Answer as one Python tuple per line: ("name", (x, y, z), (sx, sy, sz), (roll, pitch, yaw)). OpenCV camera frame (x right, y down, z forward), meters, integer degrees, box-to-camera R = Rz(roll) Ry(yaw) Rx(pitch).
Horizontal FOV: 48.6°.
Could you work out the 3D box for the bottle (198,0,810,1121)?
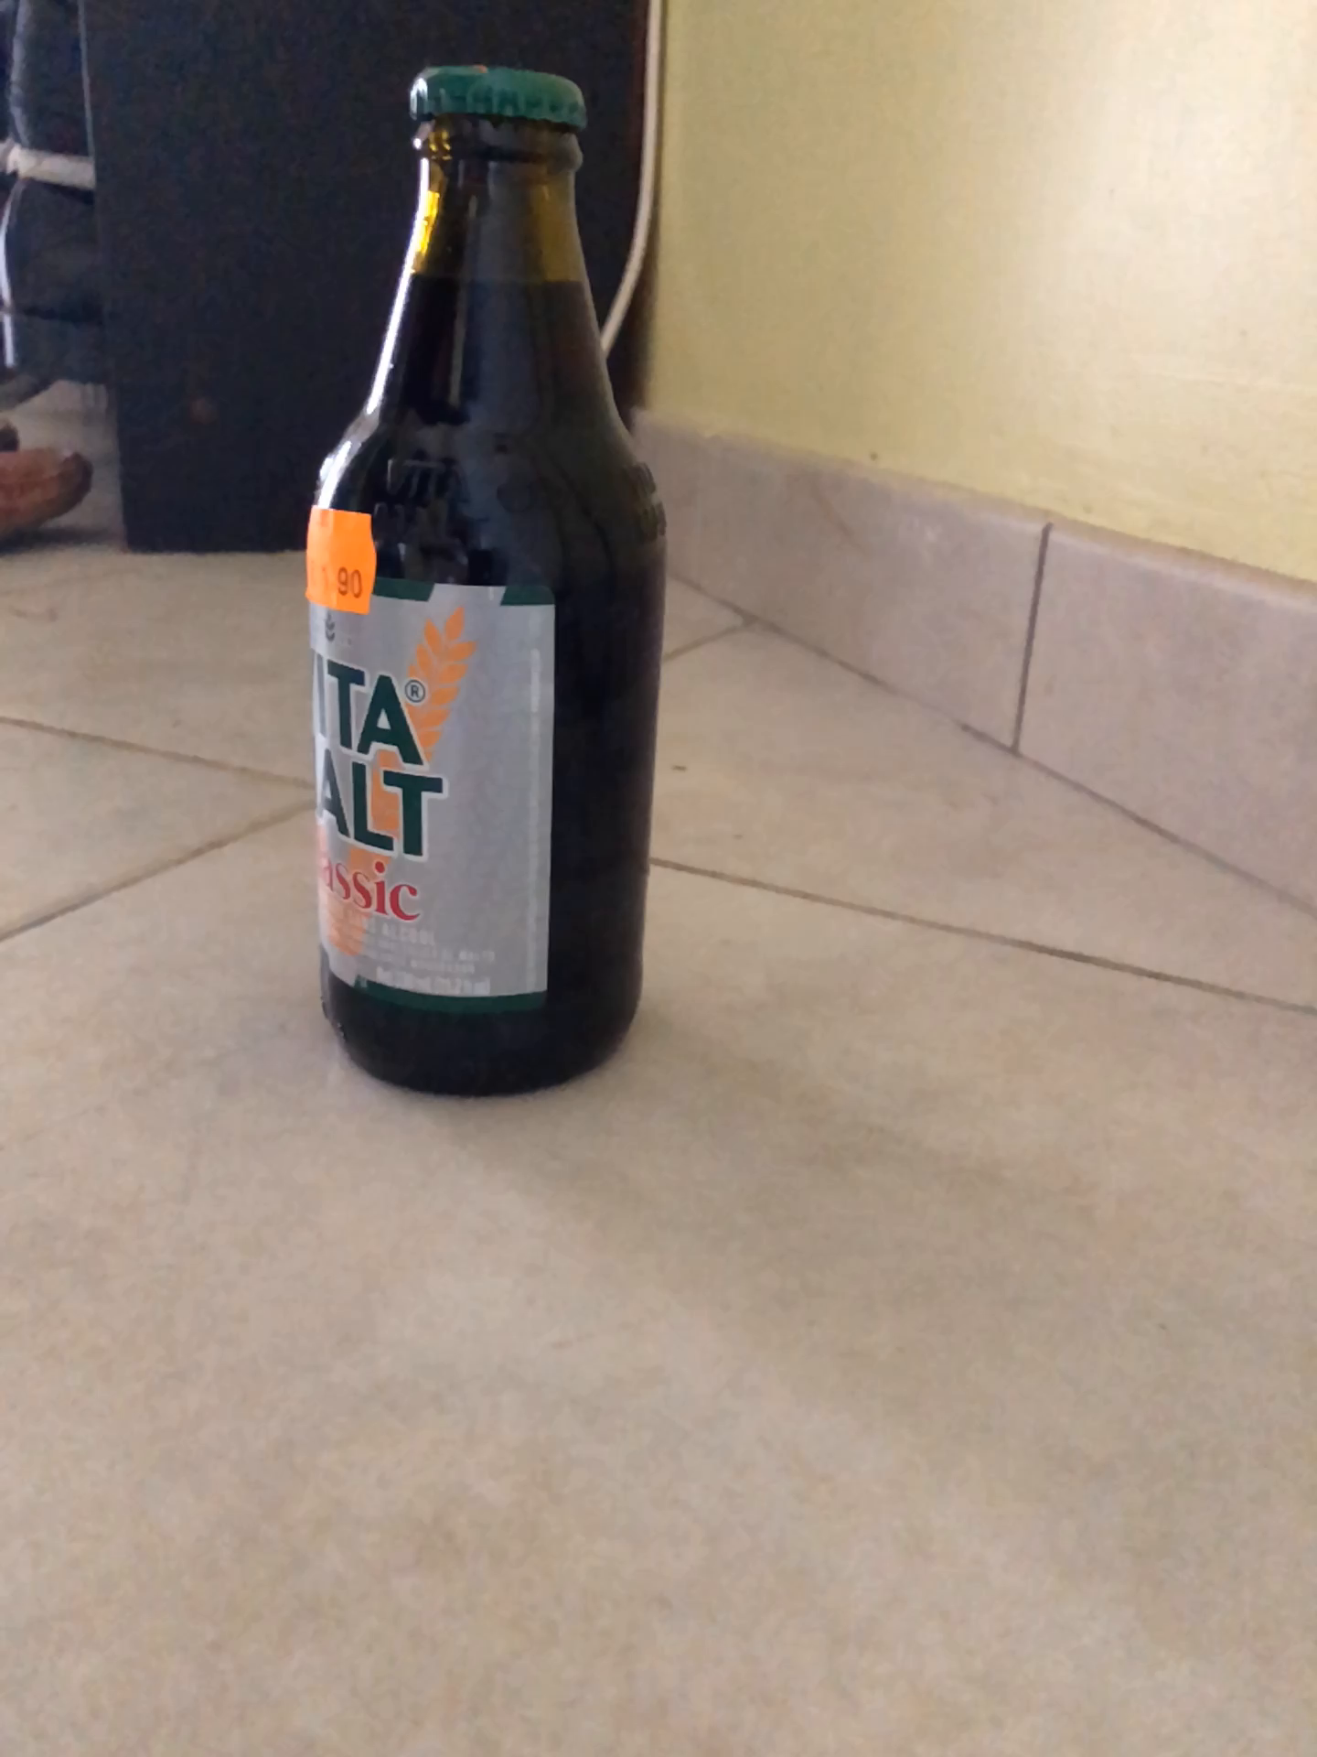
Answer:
("bottle", (-0.029, -0.056, 0.263), (0.070, 0.169, 0.070), (2, 22, -1))
